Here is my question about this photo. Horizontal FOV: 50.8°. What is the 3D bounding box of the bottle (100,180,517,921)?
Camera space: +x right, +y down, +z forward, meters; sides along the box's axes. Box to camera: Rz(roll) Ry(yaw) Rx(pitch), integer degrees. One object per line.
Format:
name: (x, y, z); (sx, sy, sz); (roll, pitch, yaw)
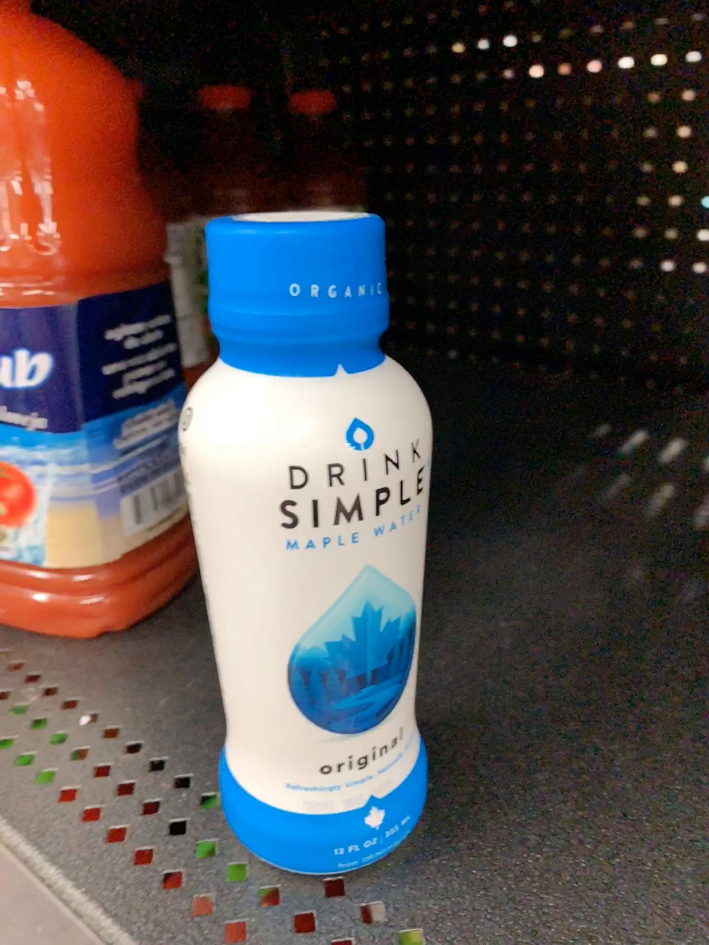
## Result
bottle: (-0.010, 0.017, 0.196); (0.070, 0.169, 0.066); (-2, 24, 1)
